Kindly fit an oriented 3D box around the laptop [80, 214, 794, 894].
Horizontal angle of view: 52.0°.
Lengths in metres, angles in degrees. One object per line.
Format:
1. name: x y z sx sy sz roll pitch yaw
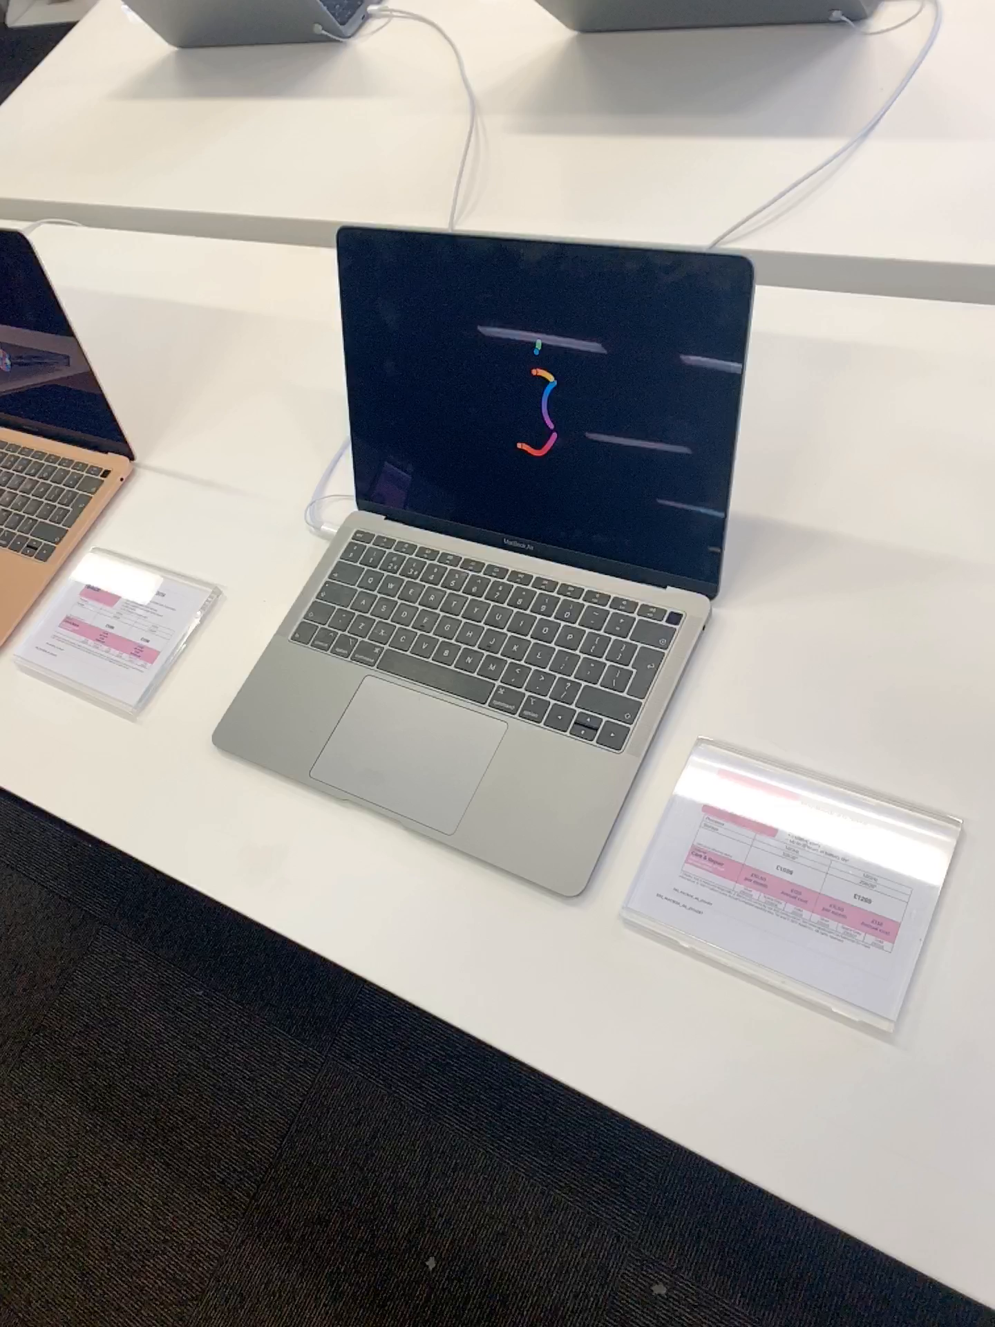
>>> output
1. laptop: -0.020 -0.088 0.628 0.290 0.160 0.329 17 68 29
